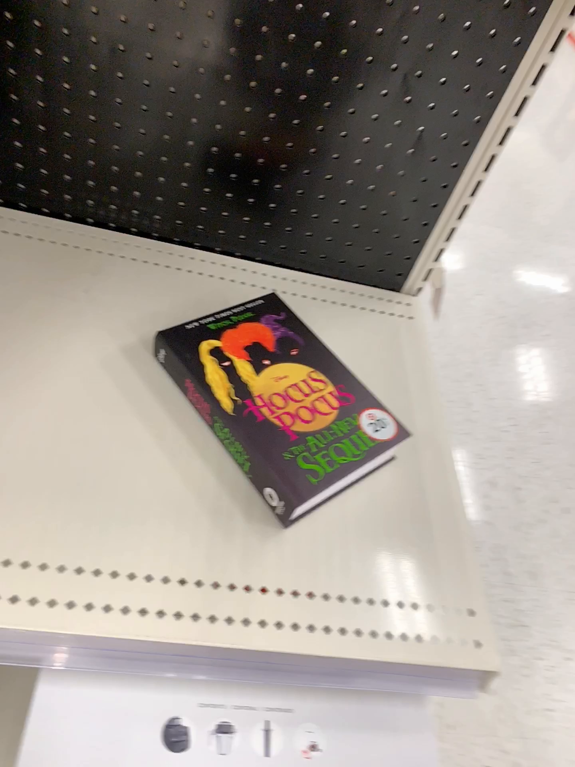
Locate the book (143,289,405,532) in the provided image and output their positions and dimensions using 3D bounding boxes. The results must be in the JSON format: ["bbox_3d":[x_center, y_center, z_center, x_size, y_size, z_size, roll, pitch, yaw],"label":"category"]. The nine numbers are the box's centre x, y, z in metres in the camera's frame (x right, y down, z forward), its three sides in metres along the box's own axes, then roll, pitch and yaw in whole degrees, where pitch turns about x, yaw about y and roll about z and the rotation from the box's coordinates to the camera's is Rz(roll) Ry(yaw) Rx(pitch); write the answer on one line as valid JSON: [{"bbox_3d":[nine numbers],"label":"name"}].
[{"bbox_3d":[-0.016,0.013,0.563,0.149,0.050,0.210,-25,62,-35],"label":"book"}]
